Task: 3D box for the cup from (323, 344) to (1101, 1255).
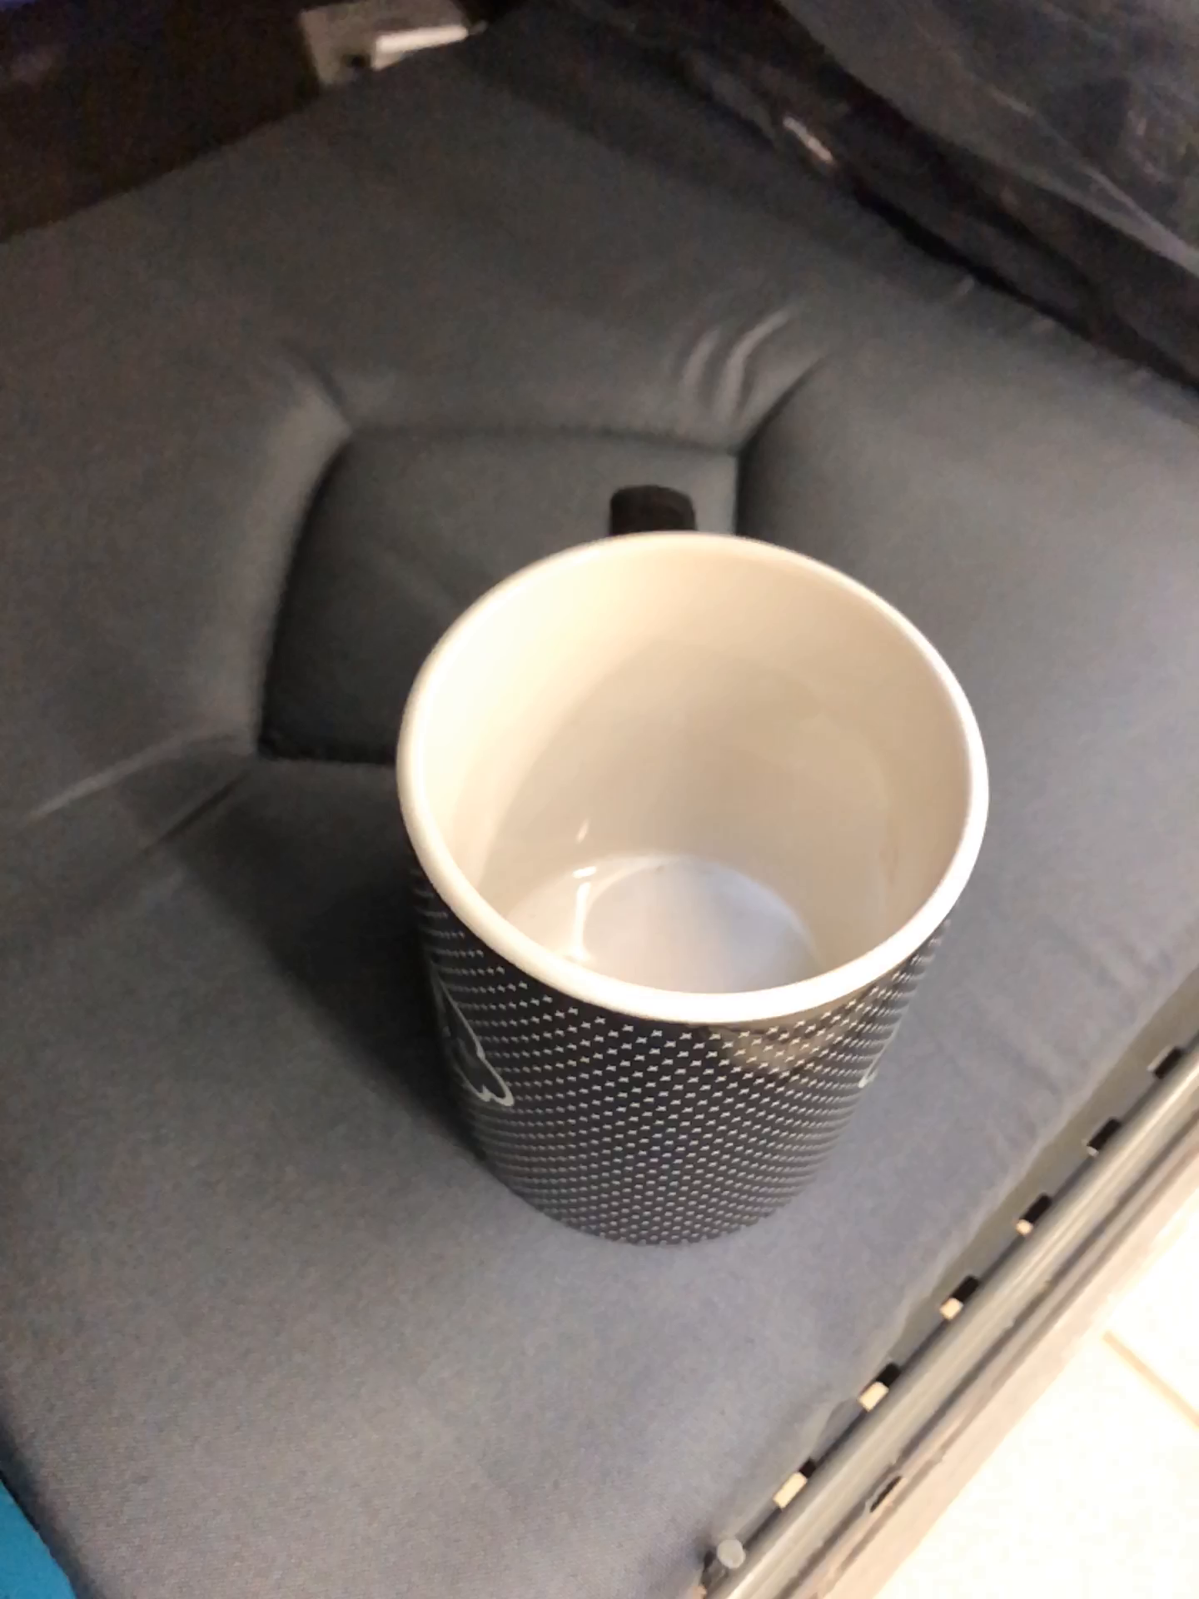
[{"bbox_3d":[0.012,0.002,0.231,0.090,0.099,0.121,0,56,-1],"label":"cup"}]
